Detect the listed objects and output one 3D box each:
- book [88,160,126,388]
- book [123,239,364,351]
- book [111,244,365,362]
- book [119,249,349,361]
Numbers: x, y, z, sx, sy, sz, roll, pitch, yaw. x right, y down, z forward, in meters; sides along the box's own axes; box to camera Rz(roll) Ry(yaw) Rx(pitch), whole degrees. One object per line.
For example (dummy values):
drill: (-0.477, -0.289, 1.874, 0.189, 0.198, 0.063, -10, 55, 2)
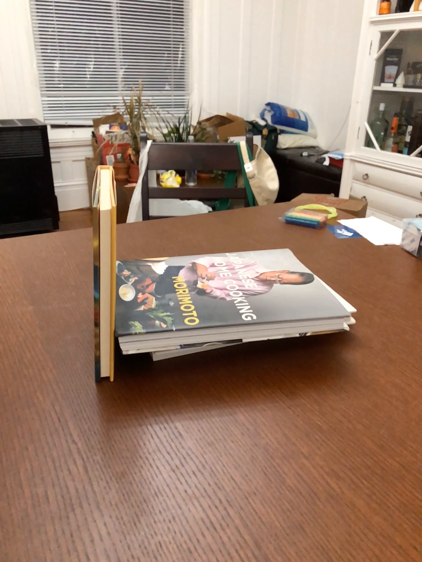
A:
book: (-0.124, -0.021, 0.569, 0.030, 0.209, 0.211, -1, 25, -11)
book: (0.032, 0.005, 0.665, 0.280, 0.030, 0.221, -8, 26, -16)
book: (0.016, 0.013, 0.608, 0.280, 0.030, 0.221, -6, 25, -11)
book: (0.022, 0.020, 0.698, 0.280, 0.030, 0.221, -9, 26, -18)
